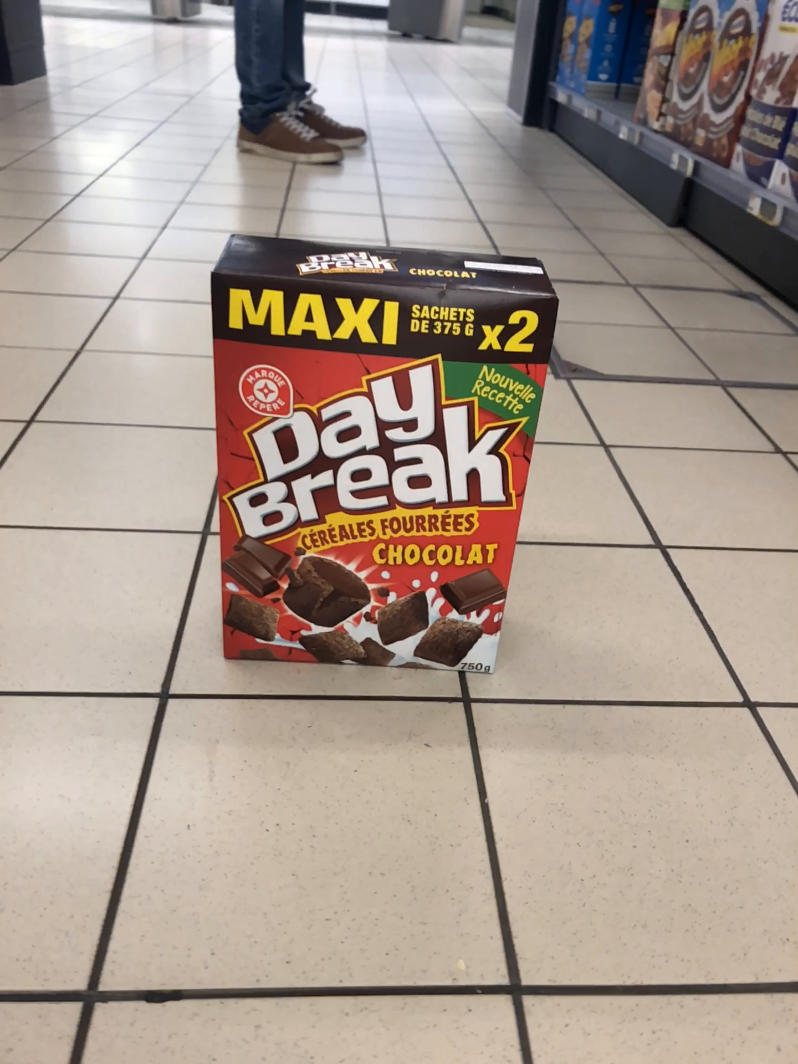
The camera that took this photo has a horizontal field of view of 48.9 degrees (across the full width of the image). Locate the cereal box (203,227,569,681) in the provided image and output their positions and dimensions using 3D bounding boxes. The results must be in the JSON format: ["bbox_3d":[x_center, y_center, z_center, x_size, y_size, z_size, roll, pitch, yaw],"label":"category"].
[{"bbox_3d":[-0.015,-0.043,0.588,0.200,0.278,0.091,4,31,-1],"label":"cereal box"}]
